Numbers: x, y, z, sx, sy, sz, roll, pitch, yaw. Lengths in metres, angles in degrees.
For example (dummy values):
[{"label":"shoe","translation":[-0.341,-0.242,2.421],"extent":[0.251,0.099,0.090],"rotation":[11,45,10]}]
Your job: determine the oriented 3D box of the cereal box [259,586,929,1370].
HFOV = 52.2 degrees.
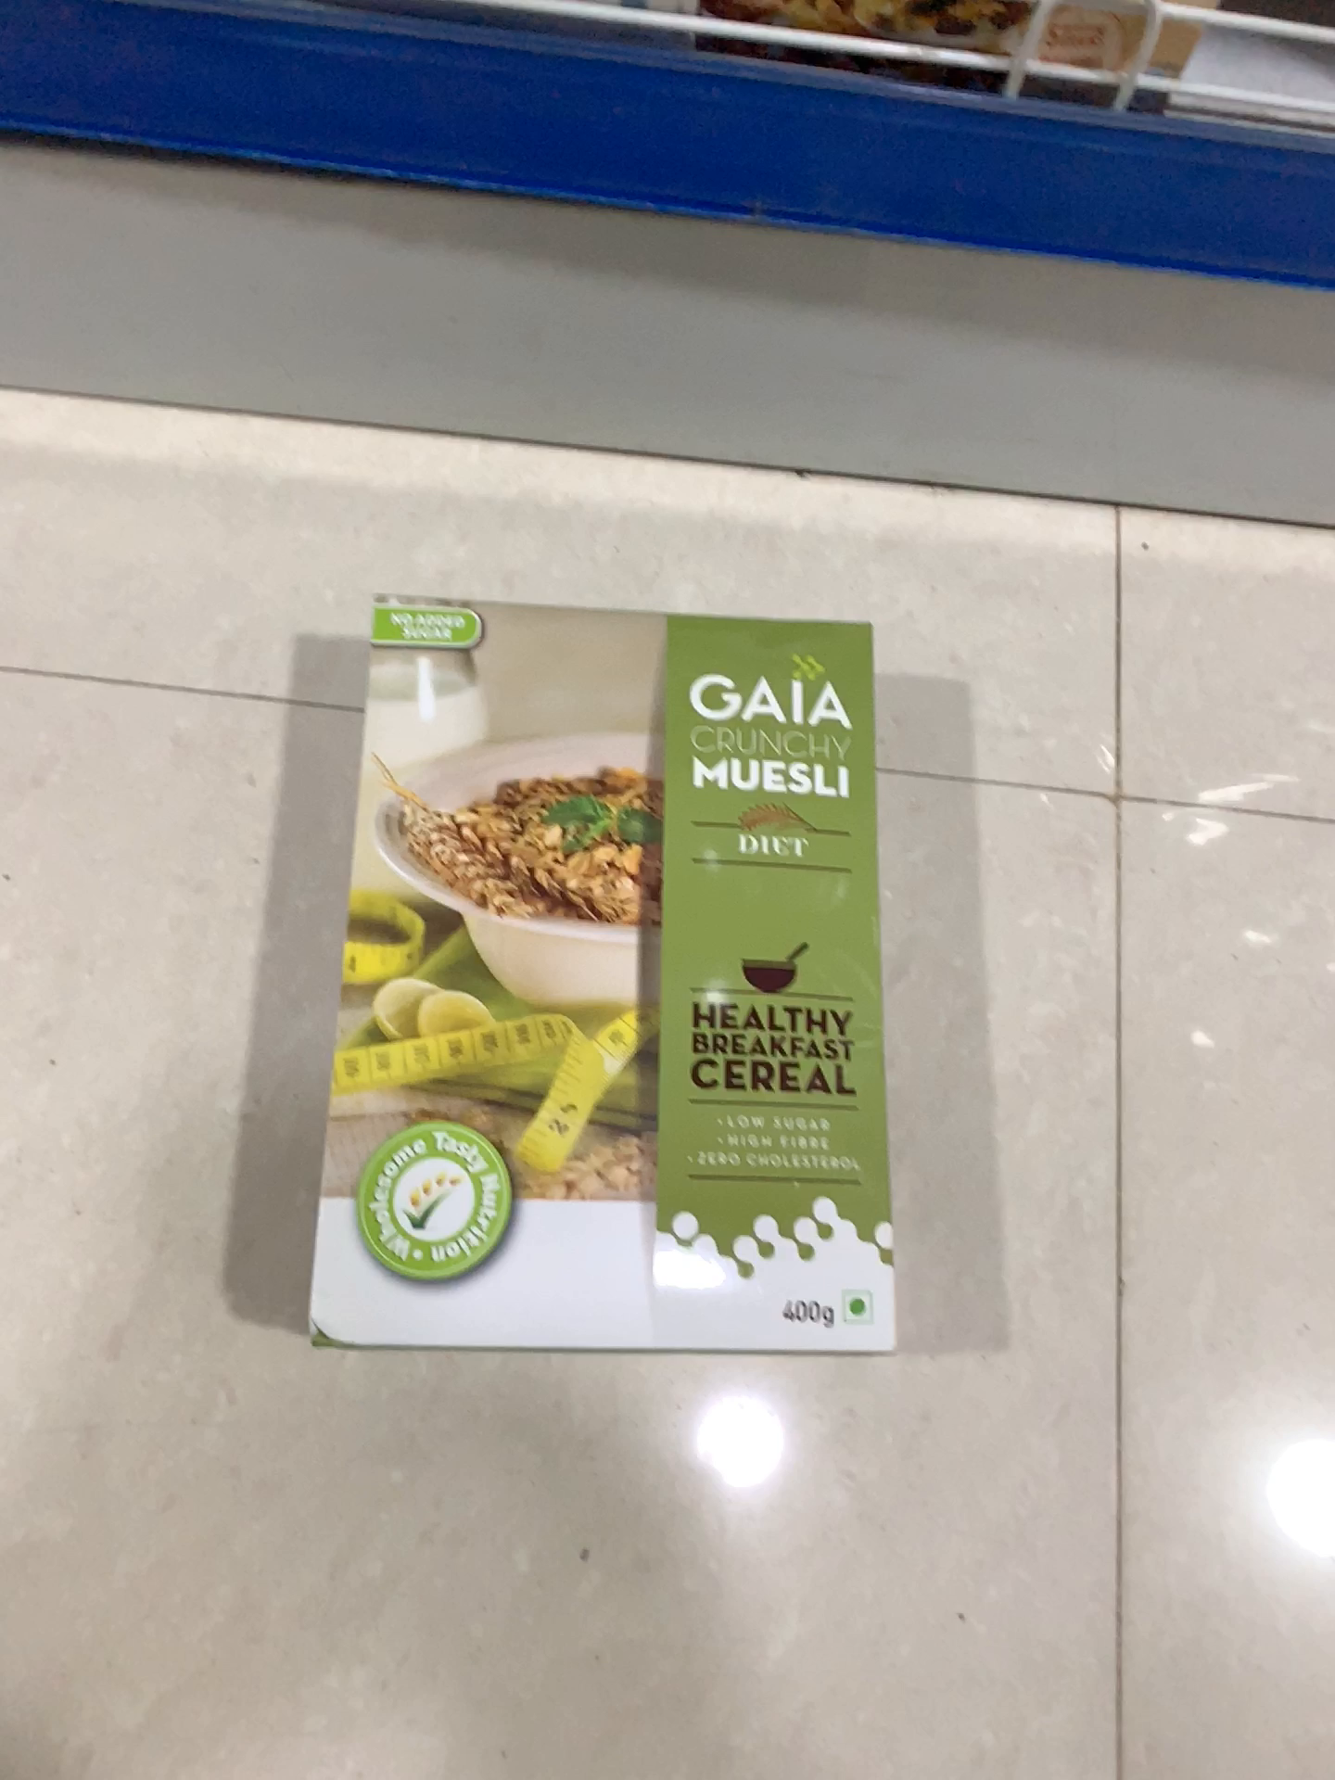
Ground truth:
[{"label":"cereal box","translation":[-0.020,0.028,0.432],"extent":[0.180,0.070,0.230],"rotation":[1,74,-3]}]
